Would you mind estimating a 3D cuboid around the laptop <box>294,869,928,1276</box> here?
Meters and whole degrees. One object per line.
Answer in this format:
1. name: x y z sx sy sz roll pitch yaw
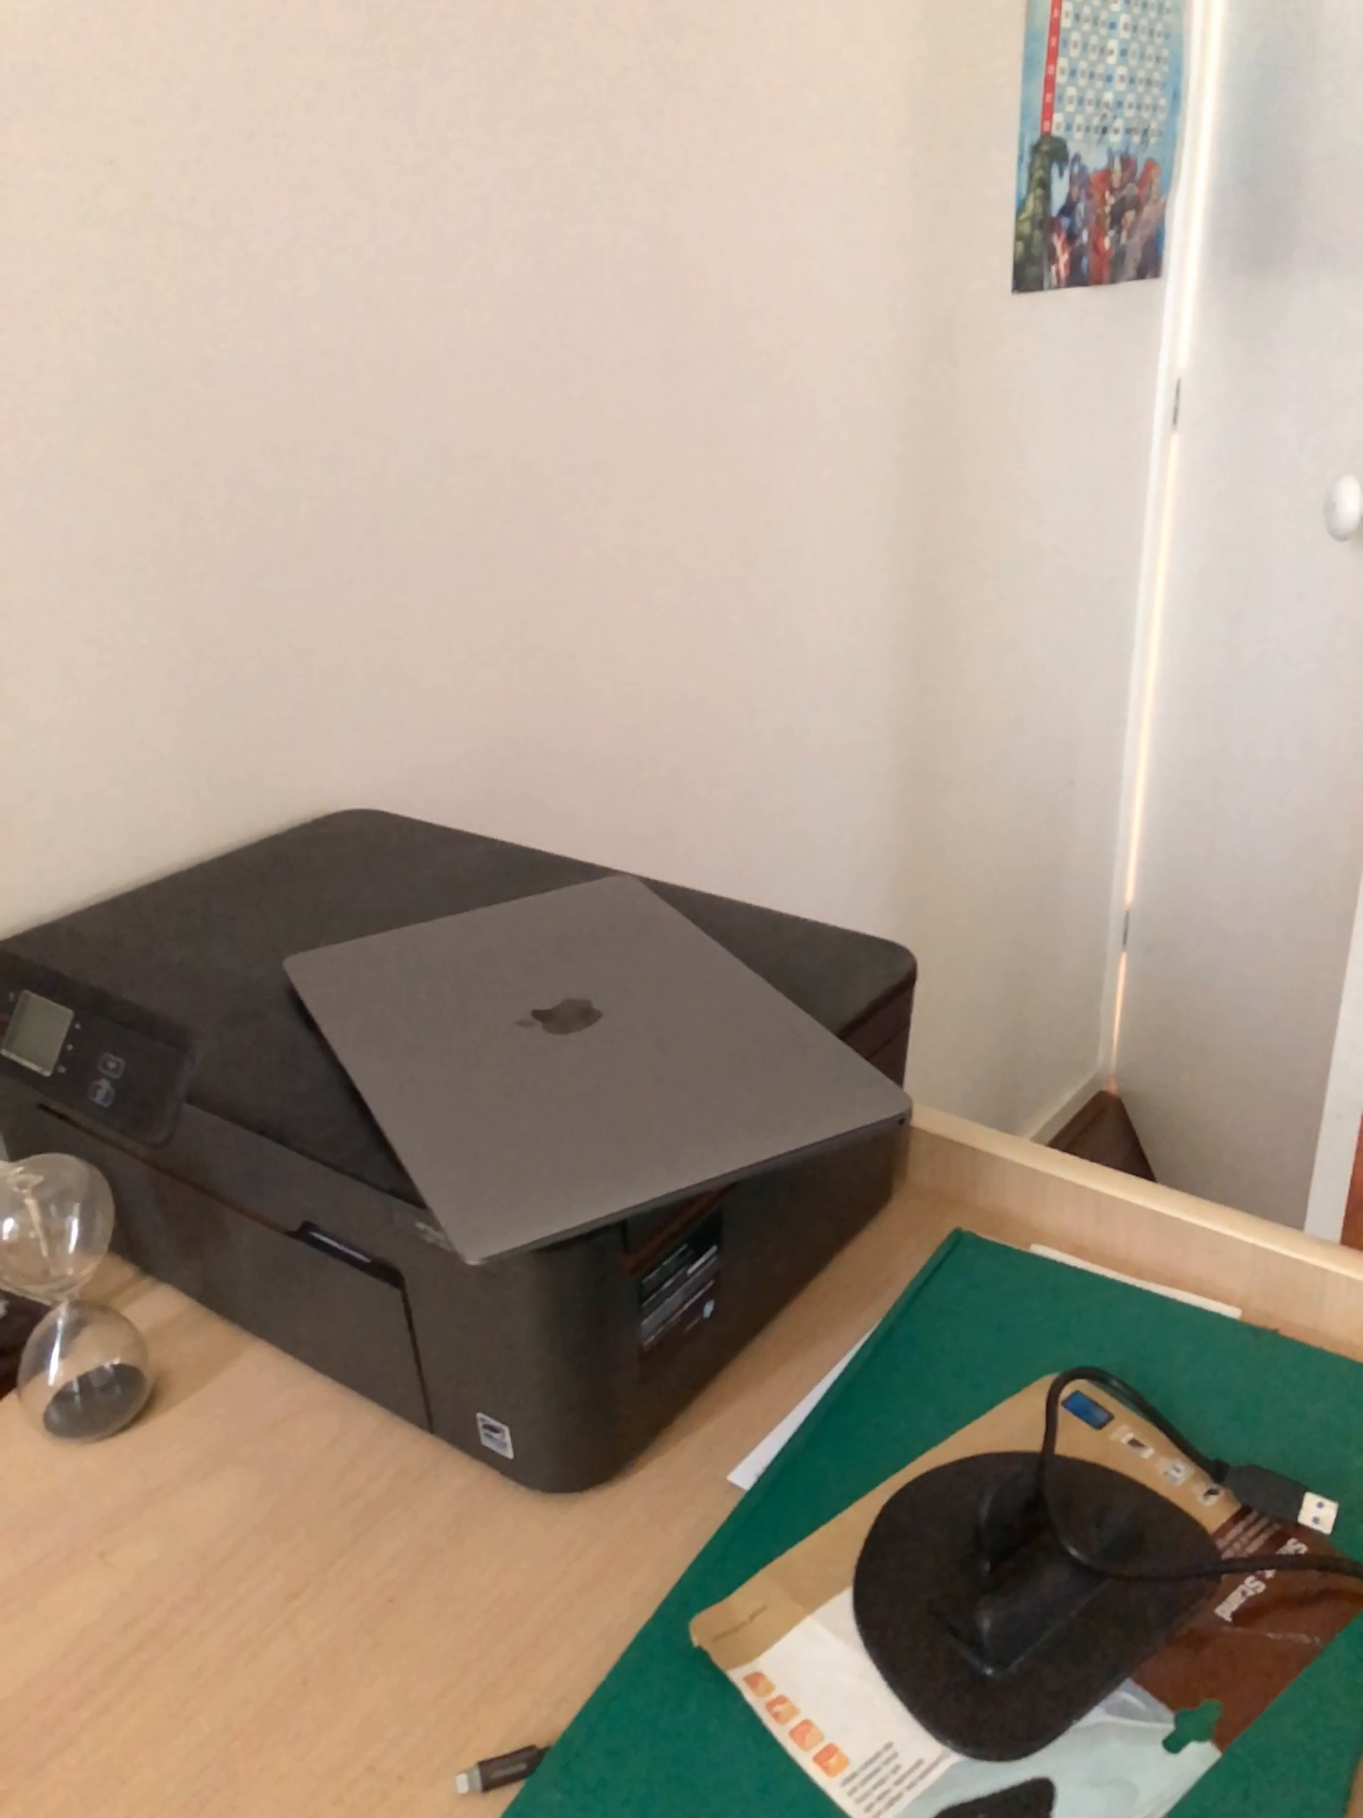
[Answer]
1. laptop: -0.046 0.053 0.666 0.188 0.007 0.266 -15 28 -23
